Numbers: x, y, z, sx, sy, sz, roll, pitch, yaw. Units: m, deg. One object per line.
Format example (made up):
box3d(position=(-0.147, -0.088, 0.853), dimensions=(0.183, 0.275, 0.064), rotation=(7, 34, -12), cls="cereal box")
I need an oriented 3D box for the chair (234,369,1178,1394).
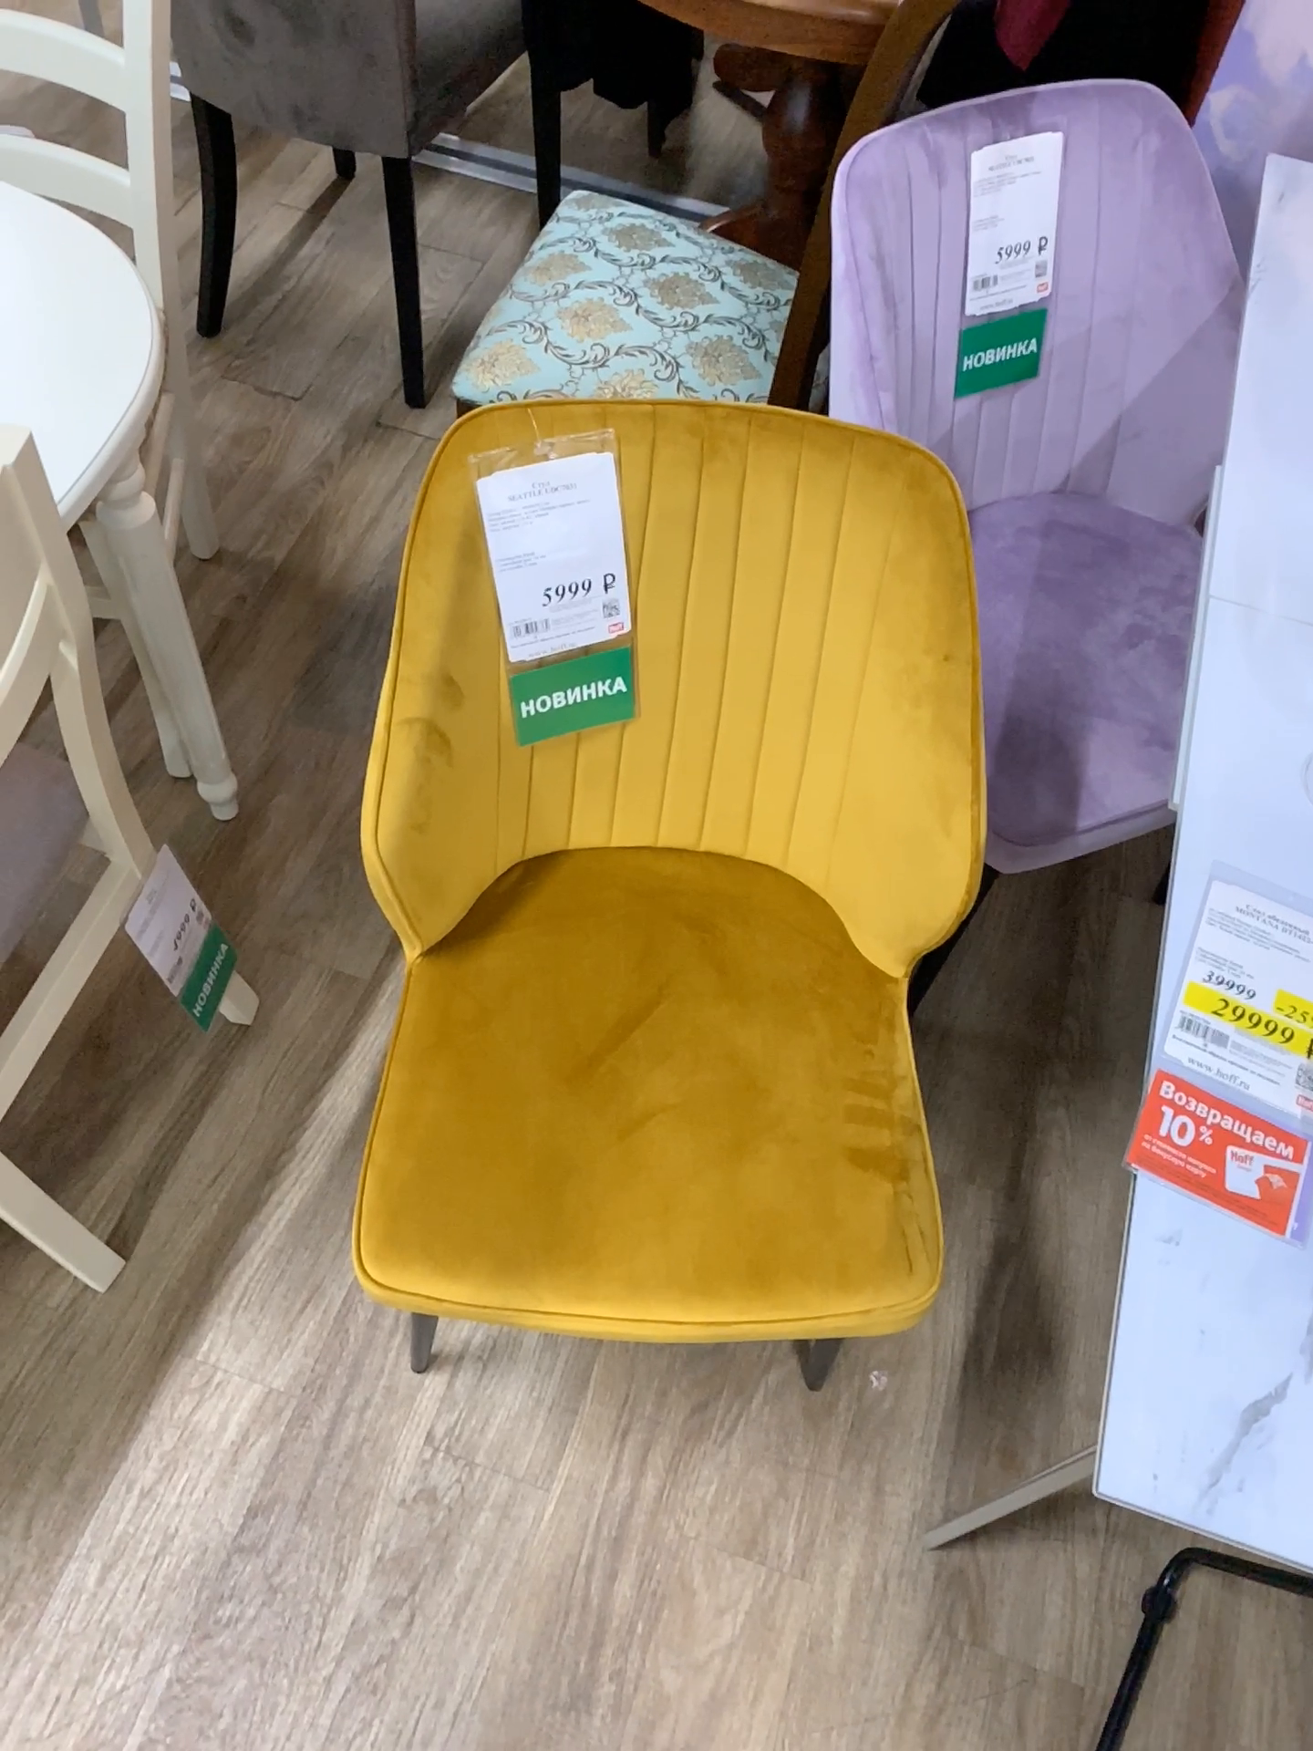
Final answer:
box3d(position=(-0.003, 0.102, 1.215), dimensions=(0.500, 0.887, 0.502), rotation=(4, 57, -4), cls="chair")
